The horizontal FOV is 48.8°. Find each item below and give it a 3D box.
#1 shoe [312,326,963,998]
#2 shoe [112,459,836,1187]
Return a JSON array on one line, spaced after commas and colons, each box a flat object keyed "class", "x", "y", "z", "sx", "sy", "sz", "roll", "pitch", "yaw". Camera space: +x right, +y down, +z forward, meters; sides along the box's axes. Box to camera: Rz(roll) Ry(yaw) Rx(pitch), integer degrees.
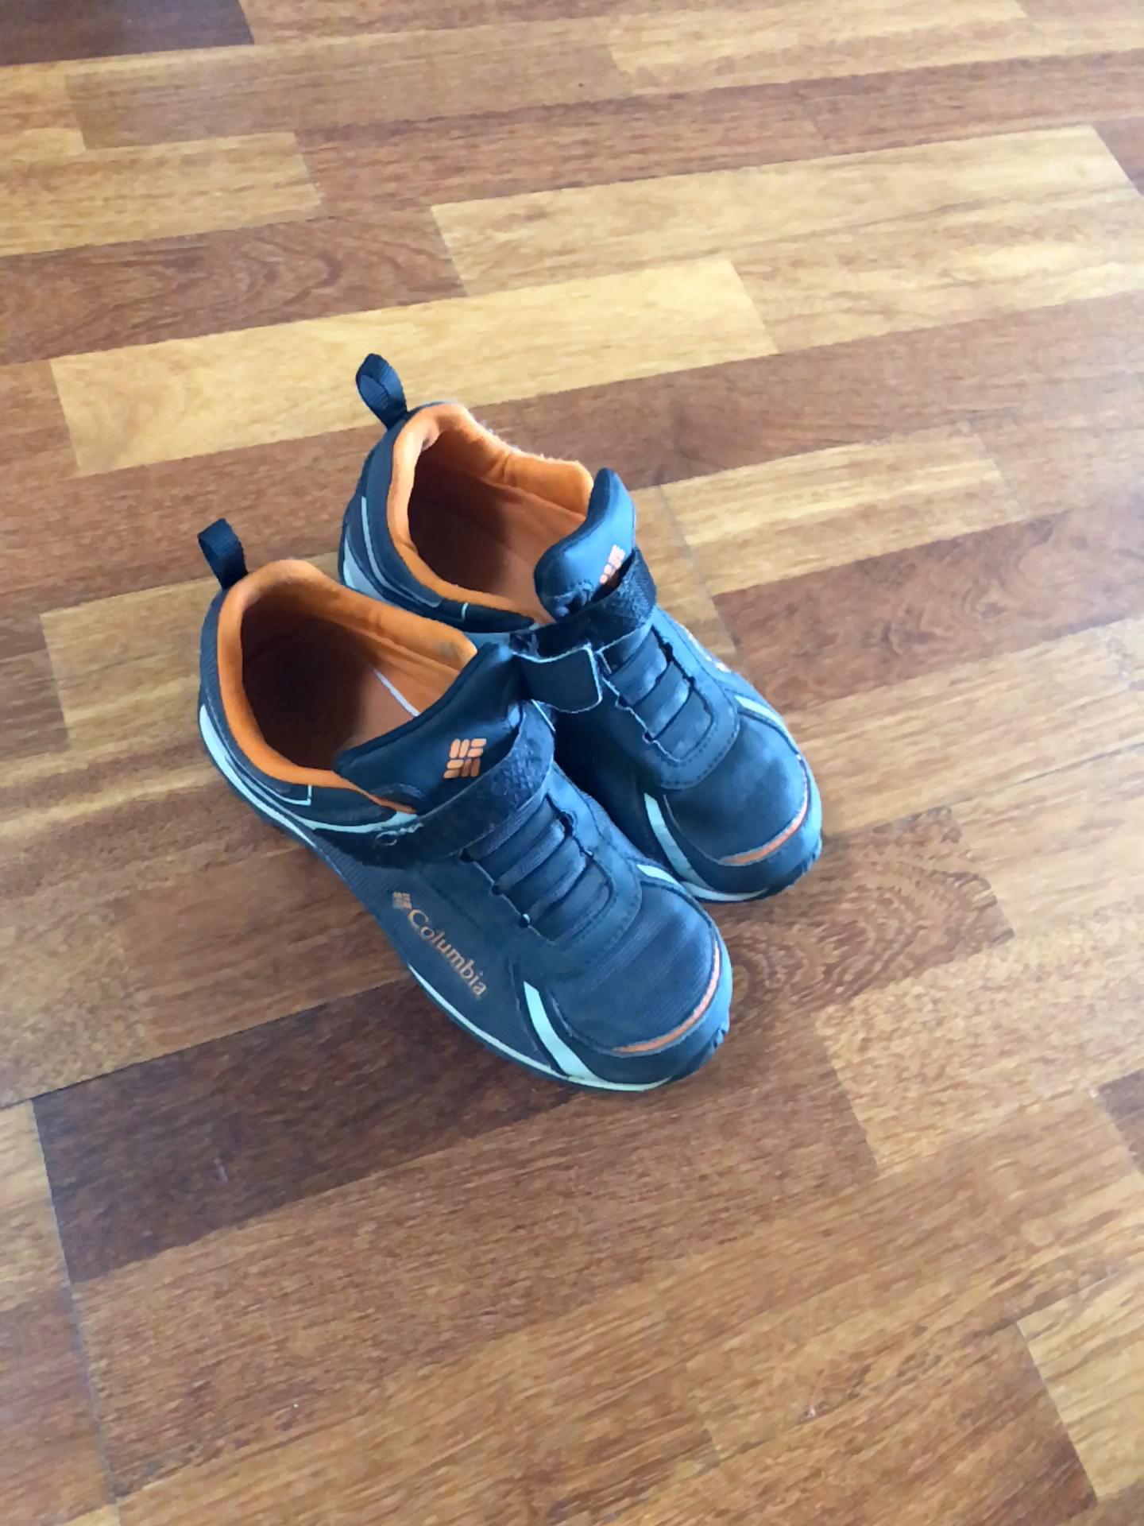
[{"class": "shoe", "x": 0.014, "y": -0.042, "z": 0.550, "sx": 0.252, "sy": 0.127, "sz": 0.112, "roll": 44, "pitch": 64, "yaw": 10}, {"class": "shoe", "x": -0.043, "y": 0.023, "z": 0.466, "sx": 0.247, "sy": 0.102, "sz": 0.097, "roll": 44, "pitch": 64, "yaw": 10}]
